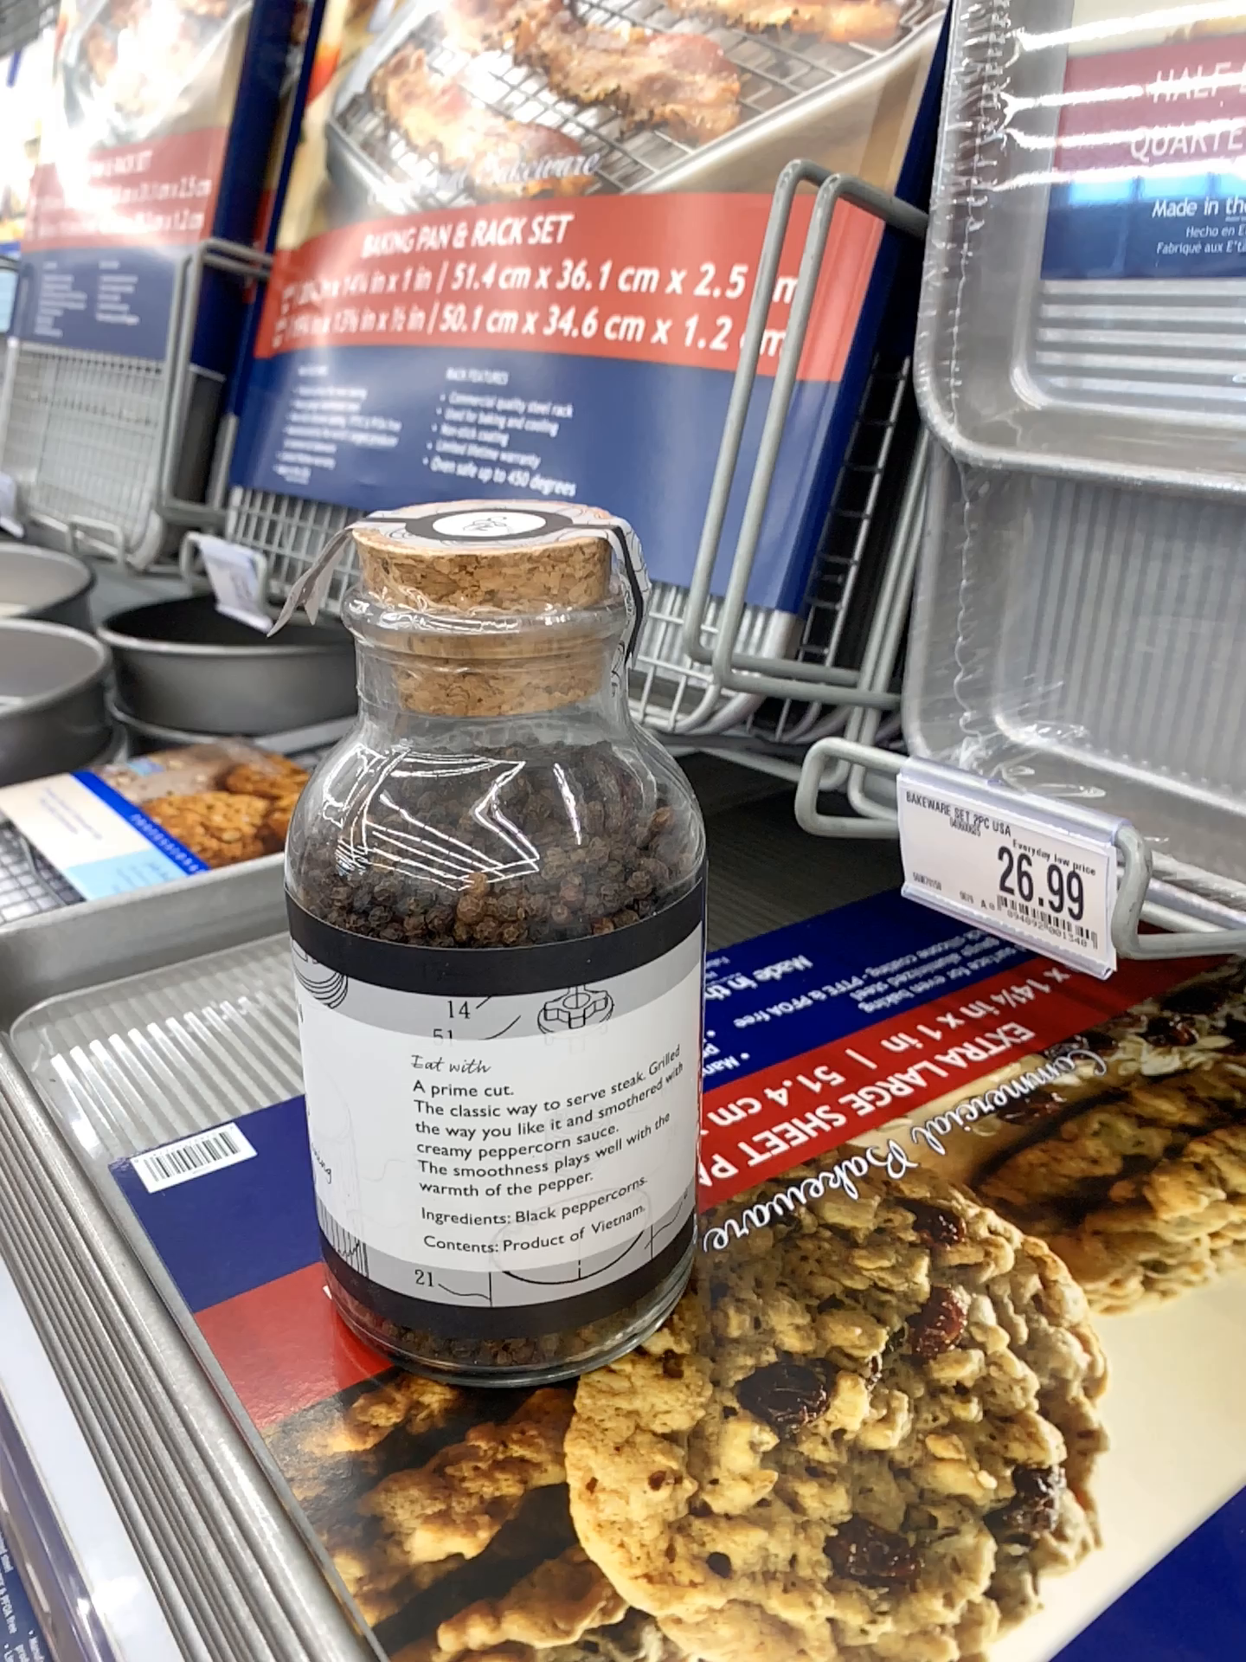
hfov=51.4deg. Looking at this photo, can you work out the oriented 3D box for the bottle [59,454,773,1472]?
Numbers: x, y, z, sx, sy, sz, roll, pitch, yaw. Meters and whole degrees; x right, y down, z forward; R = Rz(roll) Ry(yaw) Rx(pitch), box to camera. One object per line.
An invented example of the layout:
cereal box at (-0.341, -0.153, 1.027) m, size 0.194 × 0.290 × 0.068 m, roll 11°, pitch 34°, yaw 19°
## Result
bottle at (-0.028, 0.016, 0.249) m, size 0.090 × 0.159 × 0.090 m, roll 0°, pitch 21°, yaw 0°
